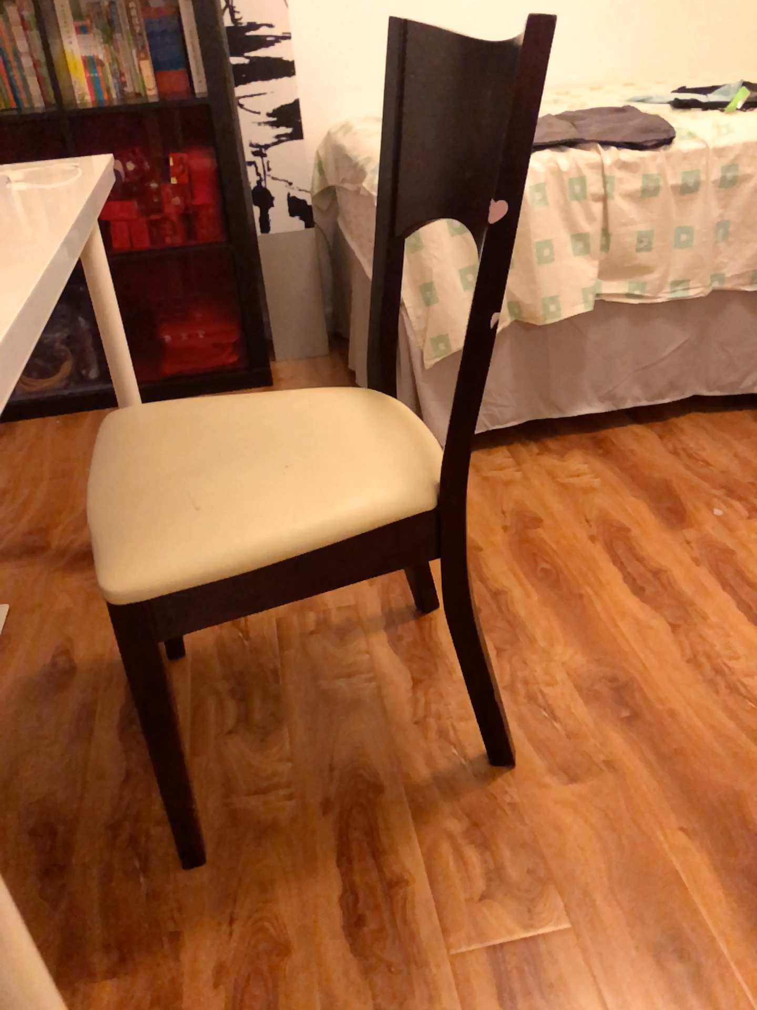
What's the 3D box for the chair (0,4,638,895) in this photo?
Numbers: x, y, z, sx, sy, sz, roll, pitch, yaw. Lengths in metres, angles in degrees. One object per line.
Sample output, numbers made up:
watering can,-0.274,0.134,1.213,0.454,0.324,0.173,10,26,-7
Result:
chair,-0.101,-0.097,1.012,0.510,0.845,0.533,-11,30,-13
